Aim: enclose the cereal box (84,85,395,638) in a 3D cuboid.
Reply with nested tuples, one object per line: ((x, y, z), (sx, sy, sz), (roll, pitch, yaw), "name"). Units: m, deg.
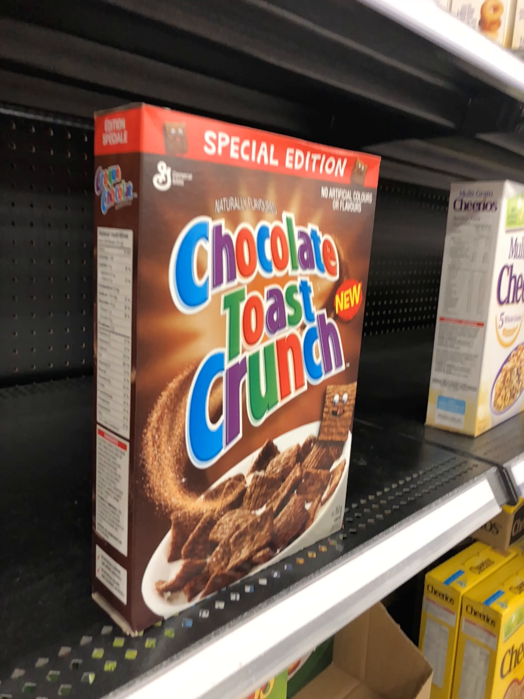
((-0.006, 0.003, 0.362), (0.050, 0.269, 0.200), (14, 15, 43), "cereal box")
